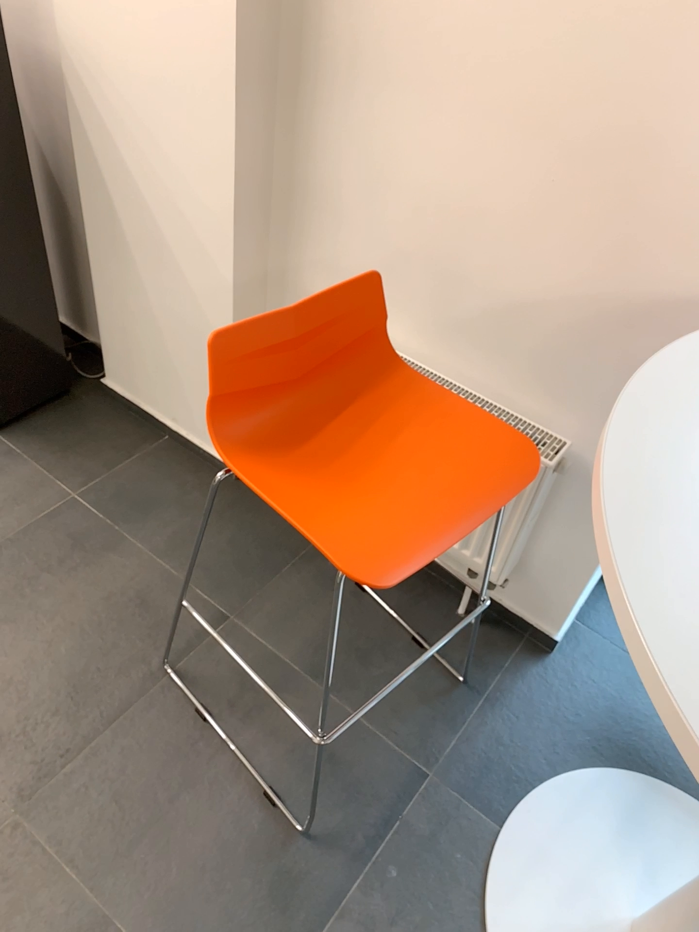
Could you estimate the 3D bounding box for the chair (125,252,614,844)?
[{"bbox_3d":[-0.013,0.175,1.406,0.572,0.905,0.501,-31,57,-35],"label":"chair"}]
